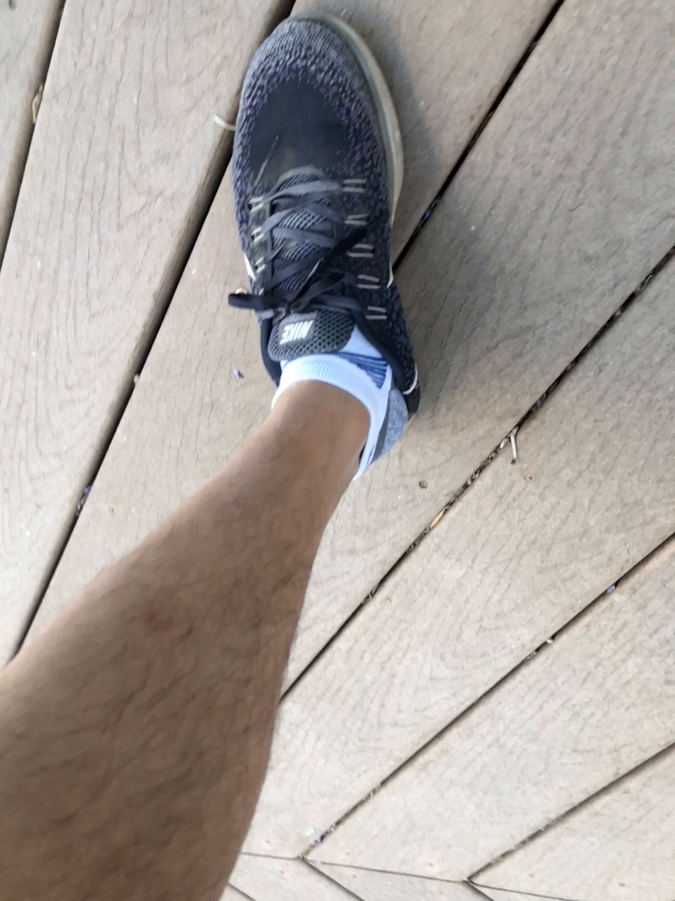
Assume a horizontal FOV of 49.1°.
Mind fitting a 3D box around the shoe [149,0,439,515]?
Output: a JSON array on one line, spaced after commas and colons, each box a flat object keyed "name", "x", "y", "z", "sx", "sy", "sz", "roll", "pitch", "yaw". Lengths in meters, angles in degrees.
[{"name": "shoe", "x": -0.014, "y": -0.117, "z": 0.493, "sx": 0.120, "sy": 0.090, "sz": 0.311, "roll": 0, "pitch": 114, "yaw": 20}]
